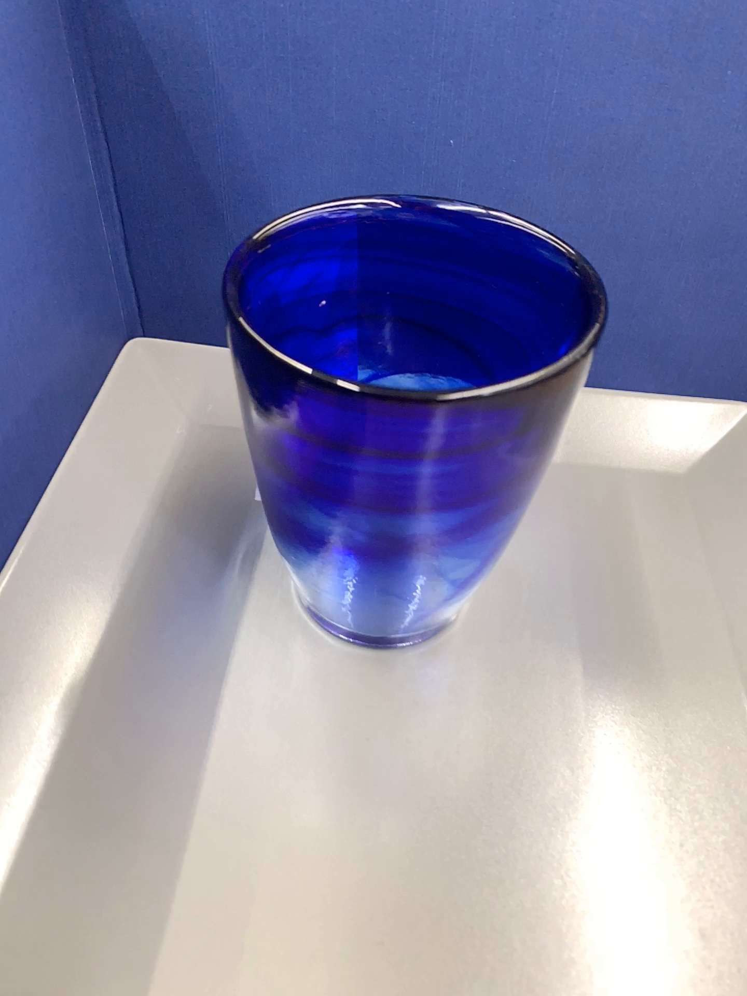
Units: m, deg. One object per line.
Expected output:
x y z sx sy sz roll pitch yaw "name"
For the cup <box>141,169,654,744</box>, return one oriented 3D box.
0.003 -0.014 0.217 0.088 0.111 0.082 2 43 -2 "cup"
